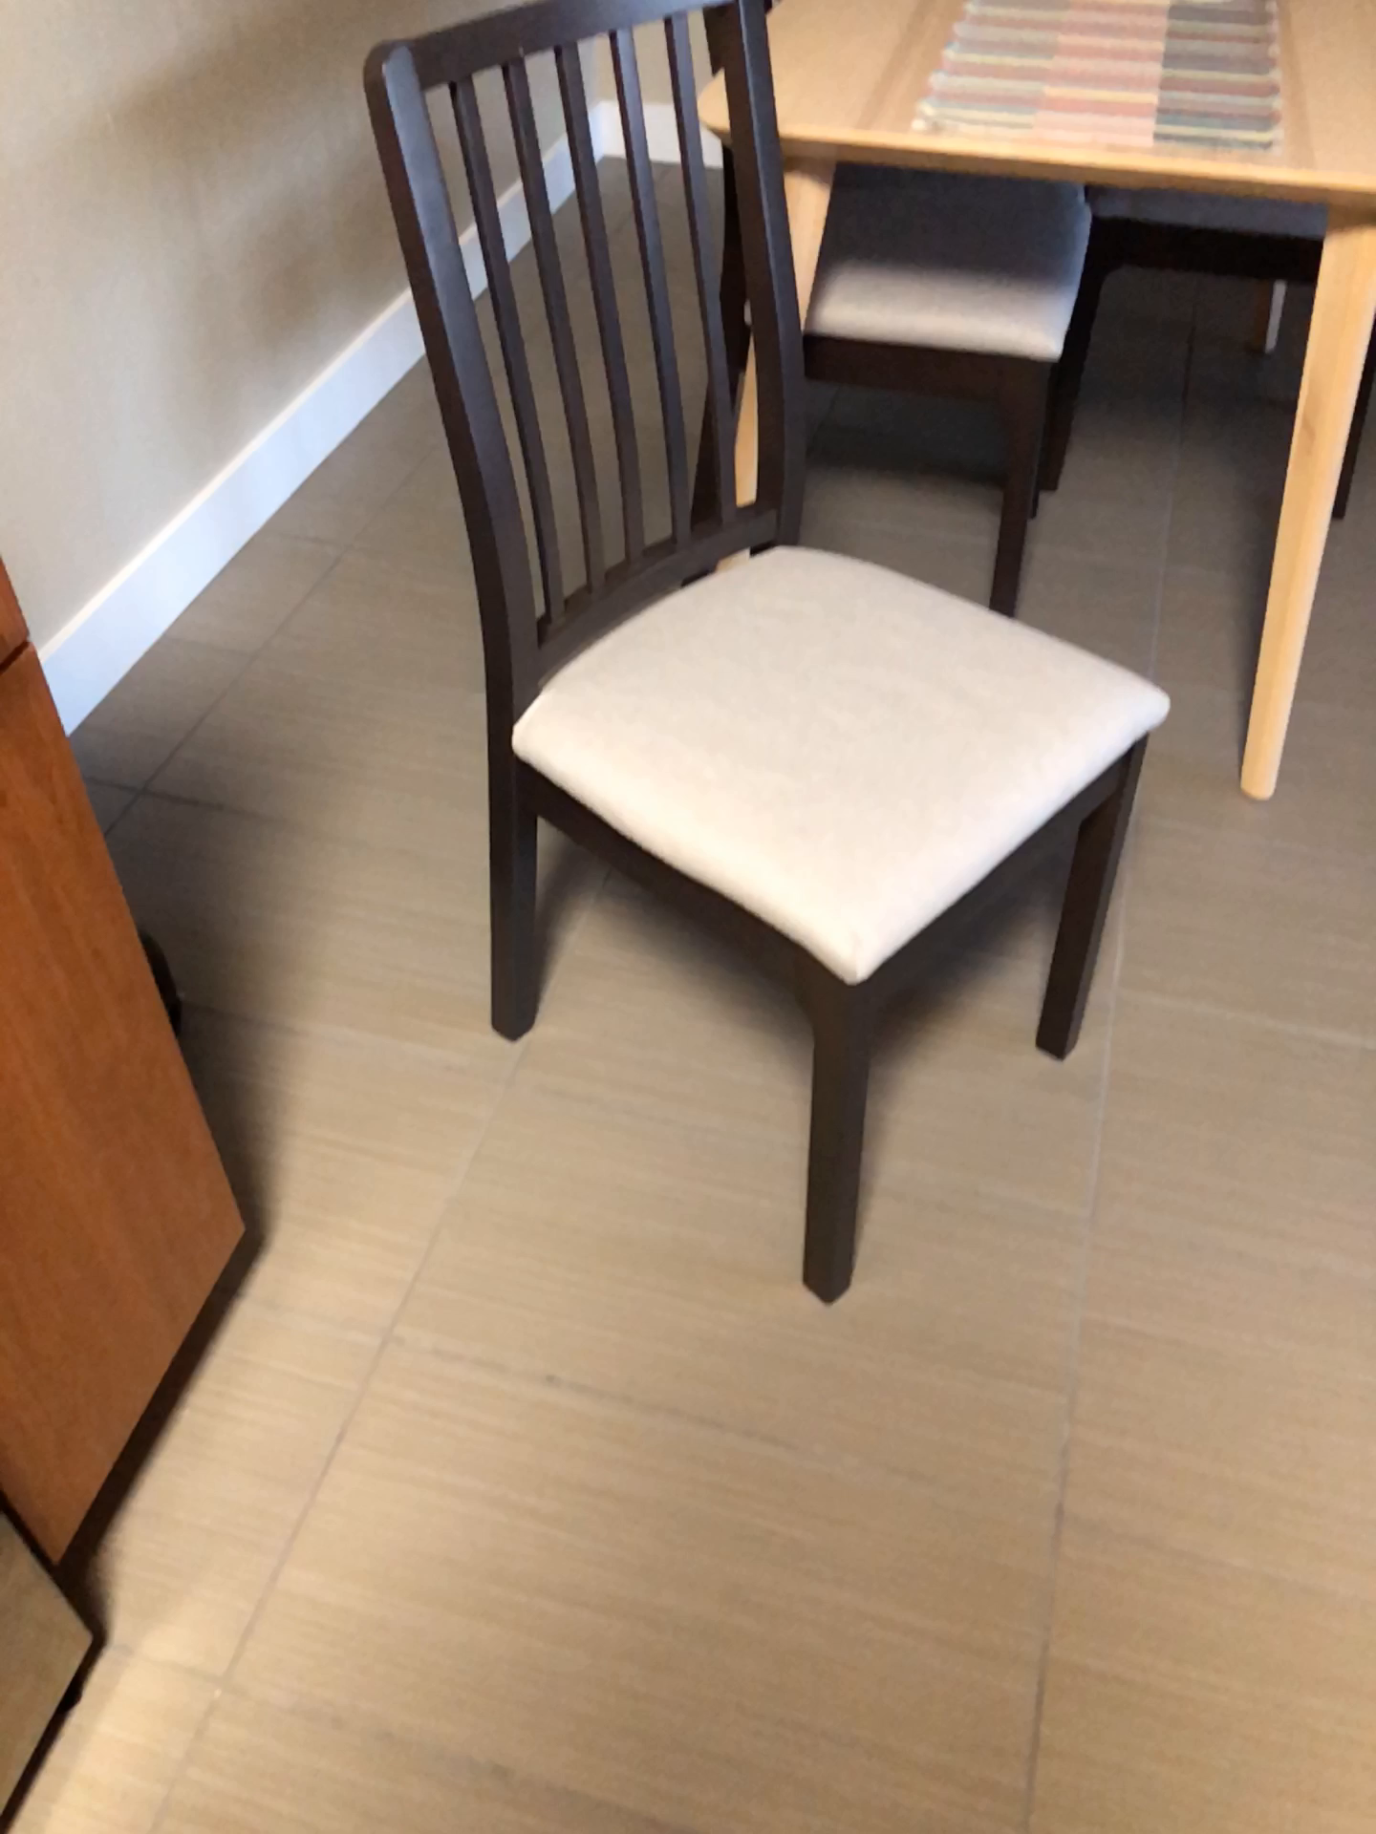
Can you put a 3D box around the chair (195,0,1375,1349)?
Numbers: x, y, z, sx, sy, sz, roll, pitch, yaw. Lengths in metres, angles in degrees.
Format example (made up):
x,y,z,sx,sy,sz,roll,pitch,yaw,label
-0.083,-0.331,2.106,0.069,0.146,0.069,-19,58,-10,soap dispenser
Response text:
x,y,z,sx,sy,sz,roll,pitch,yaw,label
0.101,-0.234,1.269,0.591,0.846,0.582,31,52,29,chair
